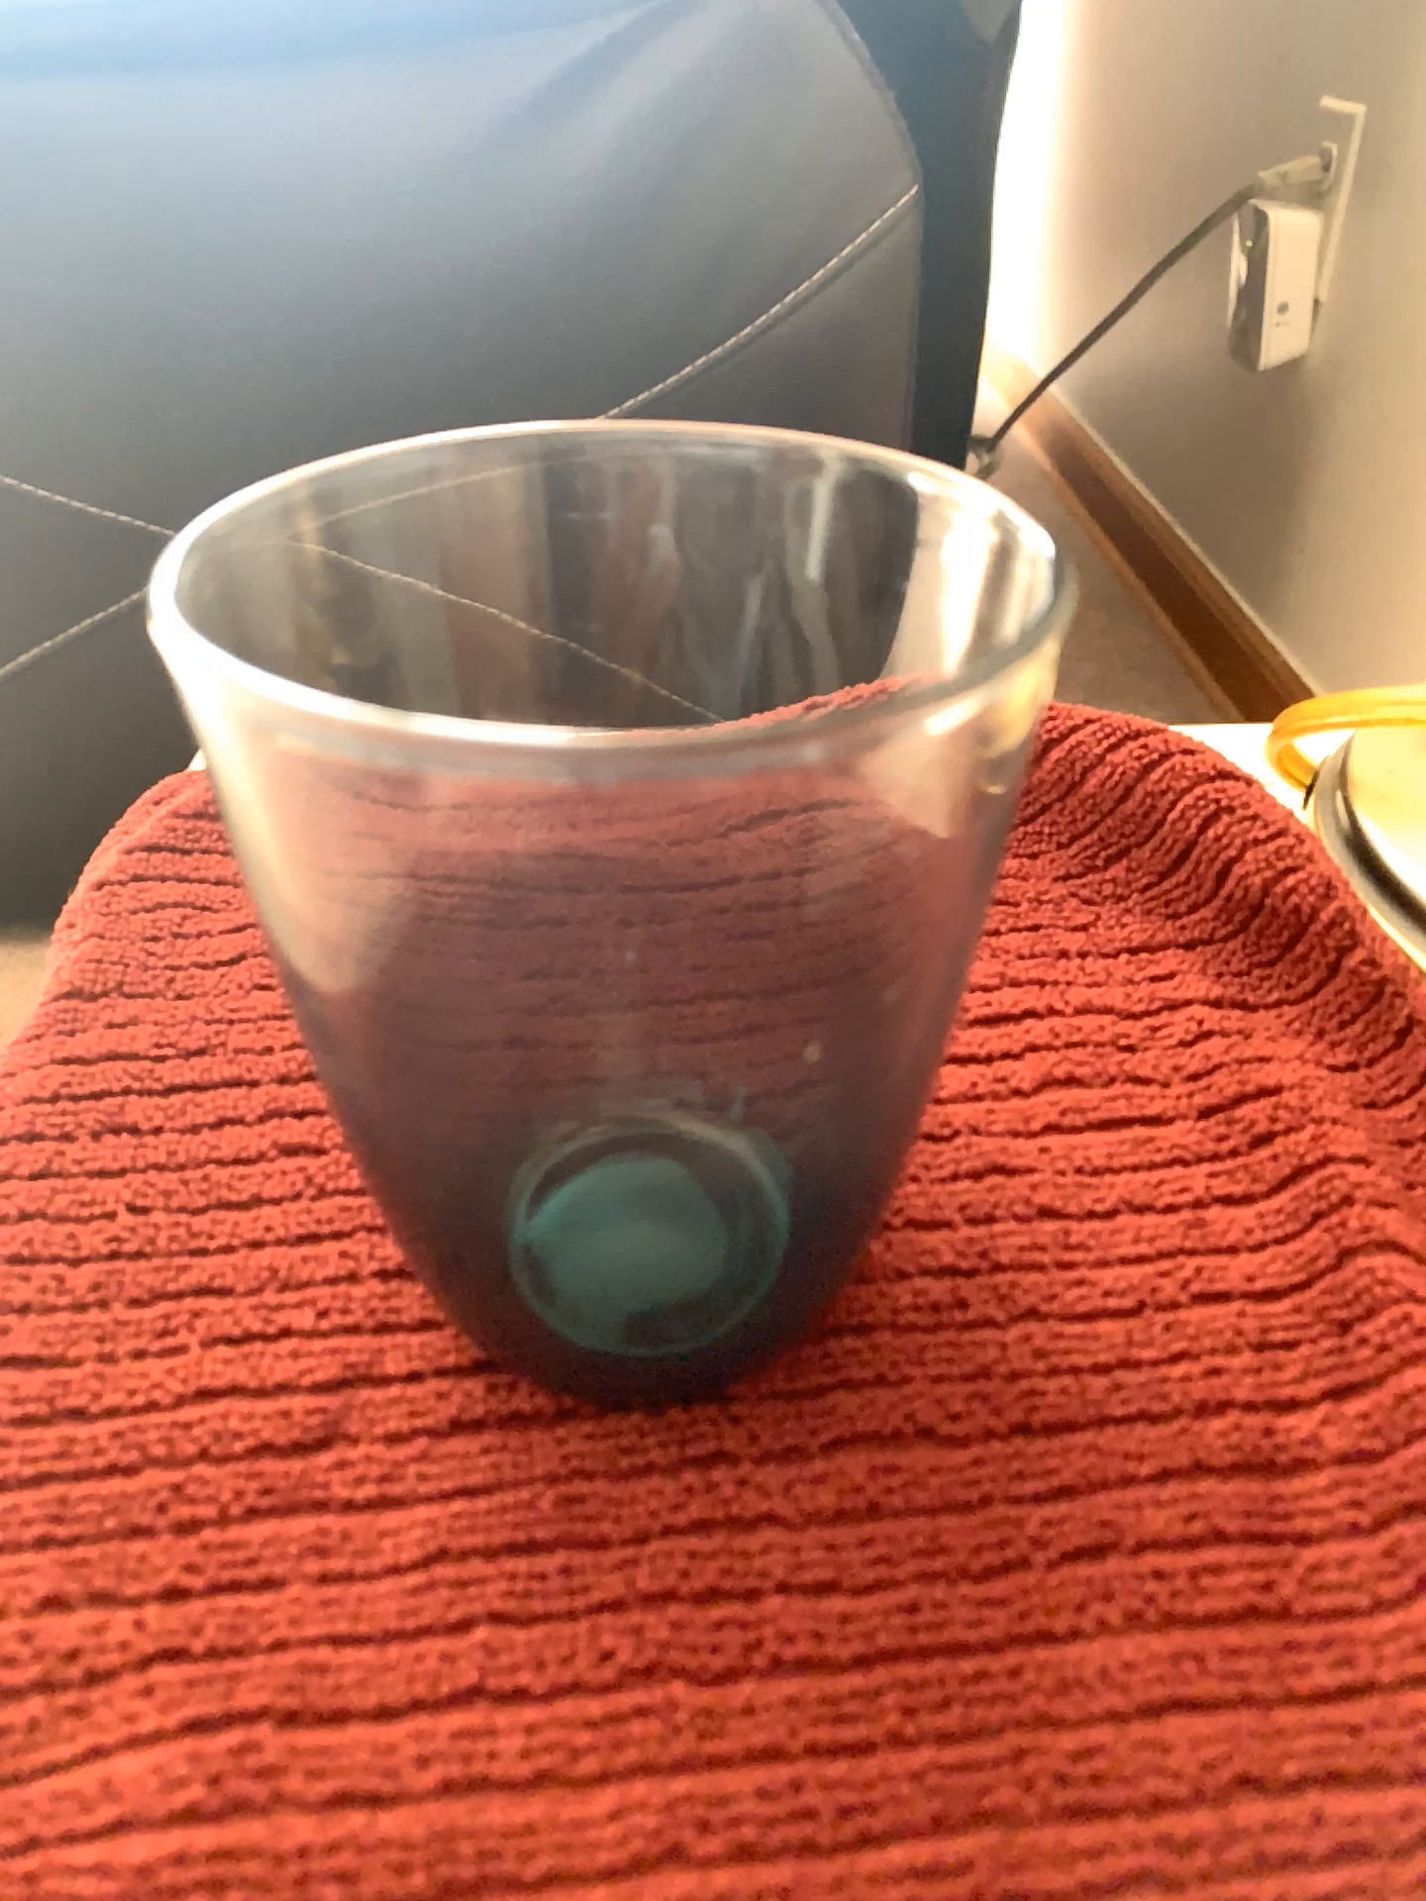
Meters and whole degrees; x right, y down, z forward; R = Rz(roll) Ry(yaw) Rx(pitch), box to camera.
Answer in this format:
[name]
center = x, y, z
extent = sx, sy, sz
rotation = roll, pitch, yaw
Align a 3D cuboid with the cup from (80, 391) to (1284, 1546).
[cup]
center = -0.010, -0.009, 0.157
extent = 0.084, 0.070, 0.087
rotation = 1, 34, -1
